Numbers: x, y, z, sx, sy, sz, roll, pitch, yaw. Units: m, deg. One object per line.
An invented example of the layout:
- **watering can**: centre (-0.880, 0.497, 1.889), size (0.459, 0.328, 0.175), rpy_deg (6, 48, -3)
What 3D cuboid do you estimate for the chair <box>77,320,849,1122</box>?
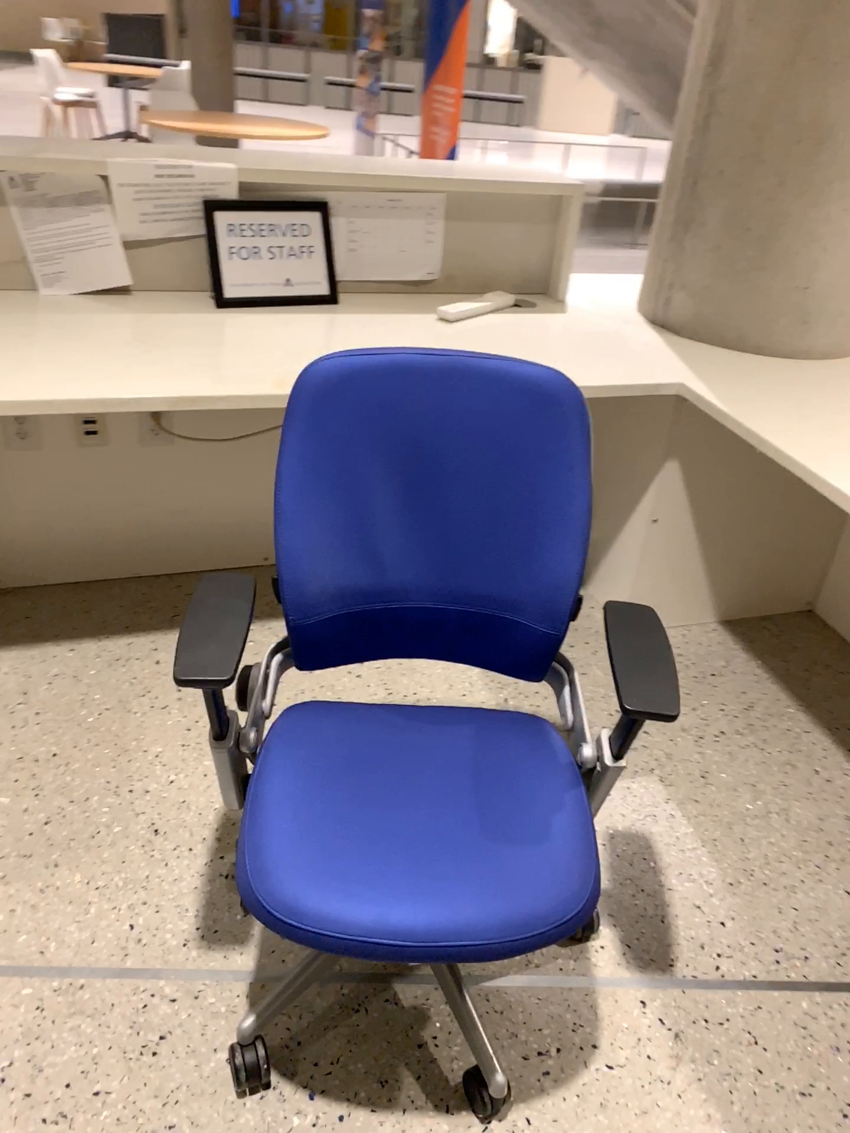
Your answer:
- **chair**: centre (0.014, 0.216, 1.240), size (0.697, 0.906, 0.609), rpy_deg (4, 31, -3)
